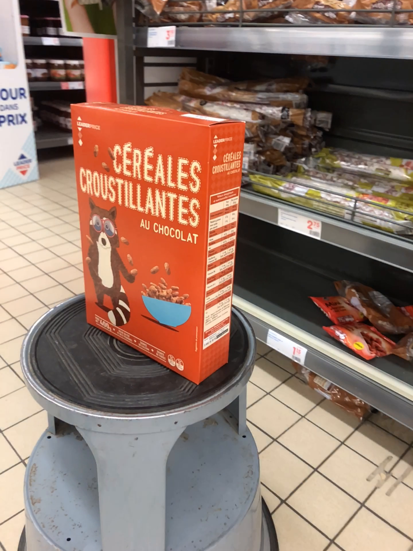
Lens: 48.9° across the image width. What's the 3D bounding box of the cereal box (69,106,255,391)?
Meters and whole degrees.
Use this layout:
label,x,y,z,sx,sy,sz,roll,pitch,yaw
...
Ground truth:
label,x,y,z,sx,sy,sz,roll,pitch,yaw
cereal box,-0.055,-0.035,0.492,0.190,0.259,0.060,22,32,34
